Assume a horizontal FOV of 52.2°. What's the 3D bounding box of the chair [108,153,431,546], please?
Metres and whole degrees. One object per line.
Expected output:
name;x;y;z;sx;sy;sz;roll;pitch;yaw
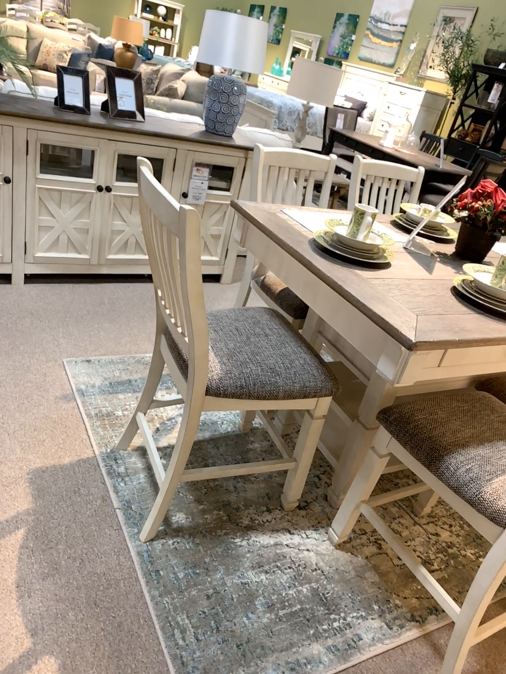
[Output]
chair;-0.036;0.040;1.508;0.591;0.925;0.492;-1;32;-27
